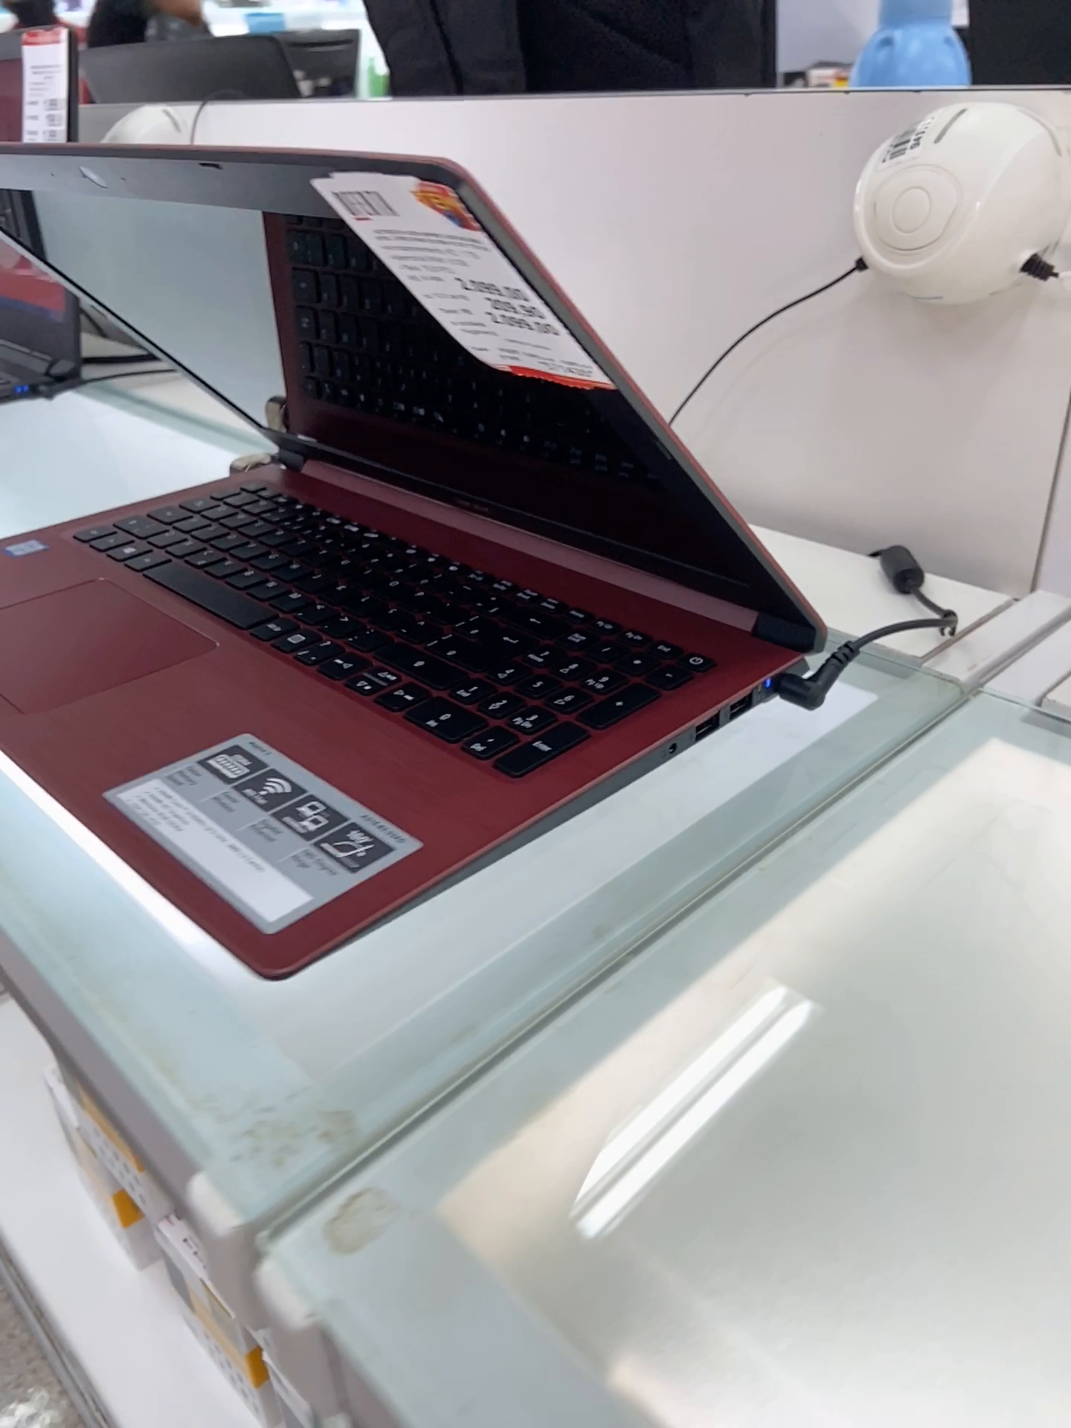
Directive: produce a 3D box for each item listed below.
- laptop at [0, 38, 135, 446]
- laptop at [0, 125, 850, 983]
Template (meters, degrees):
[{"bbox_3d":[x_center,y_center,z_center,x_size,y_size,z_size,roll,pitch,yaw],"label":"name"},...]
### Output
[{"bbox_3d":[-0.565,-0.395,0.875,0.305,0.230,0.329,-27,39,-35],"label":"laptop"},{"bbox_3d":[-0.114,-0.116,0.423,0.239,0.179,0.368,-28,38,-36],"label":"laptop"}]
